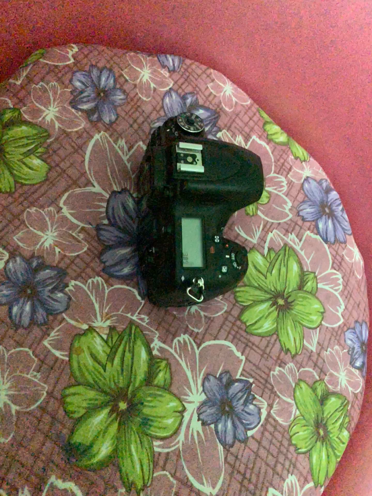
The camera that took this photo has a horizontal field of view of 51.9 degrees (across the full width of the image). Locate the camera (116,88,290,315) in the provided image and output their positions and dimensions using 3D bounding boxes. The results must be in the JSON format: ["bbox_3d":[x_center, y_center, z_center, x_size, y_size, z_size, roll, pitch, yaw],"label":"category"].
[{"bbox_3d":[0.005,-0.025,0.293,0.093,0.090,0.140,2,75,-25],"label":"camera"}]
